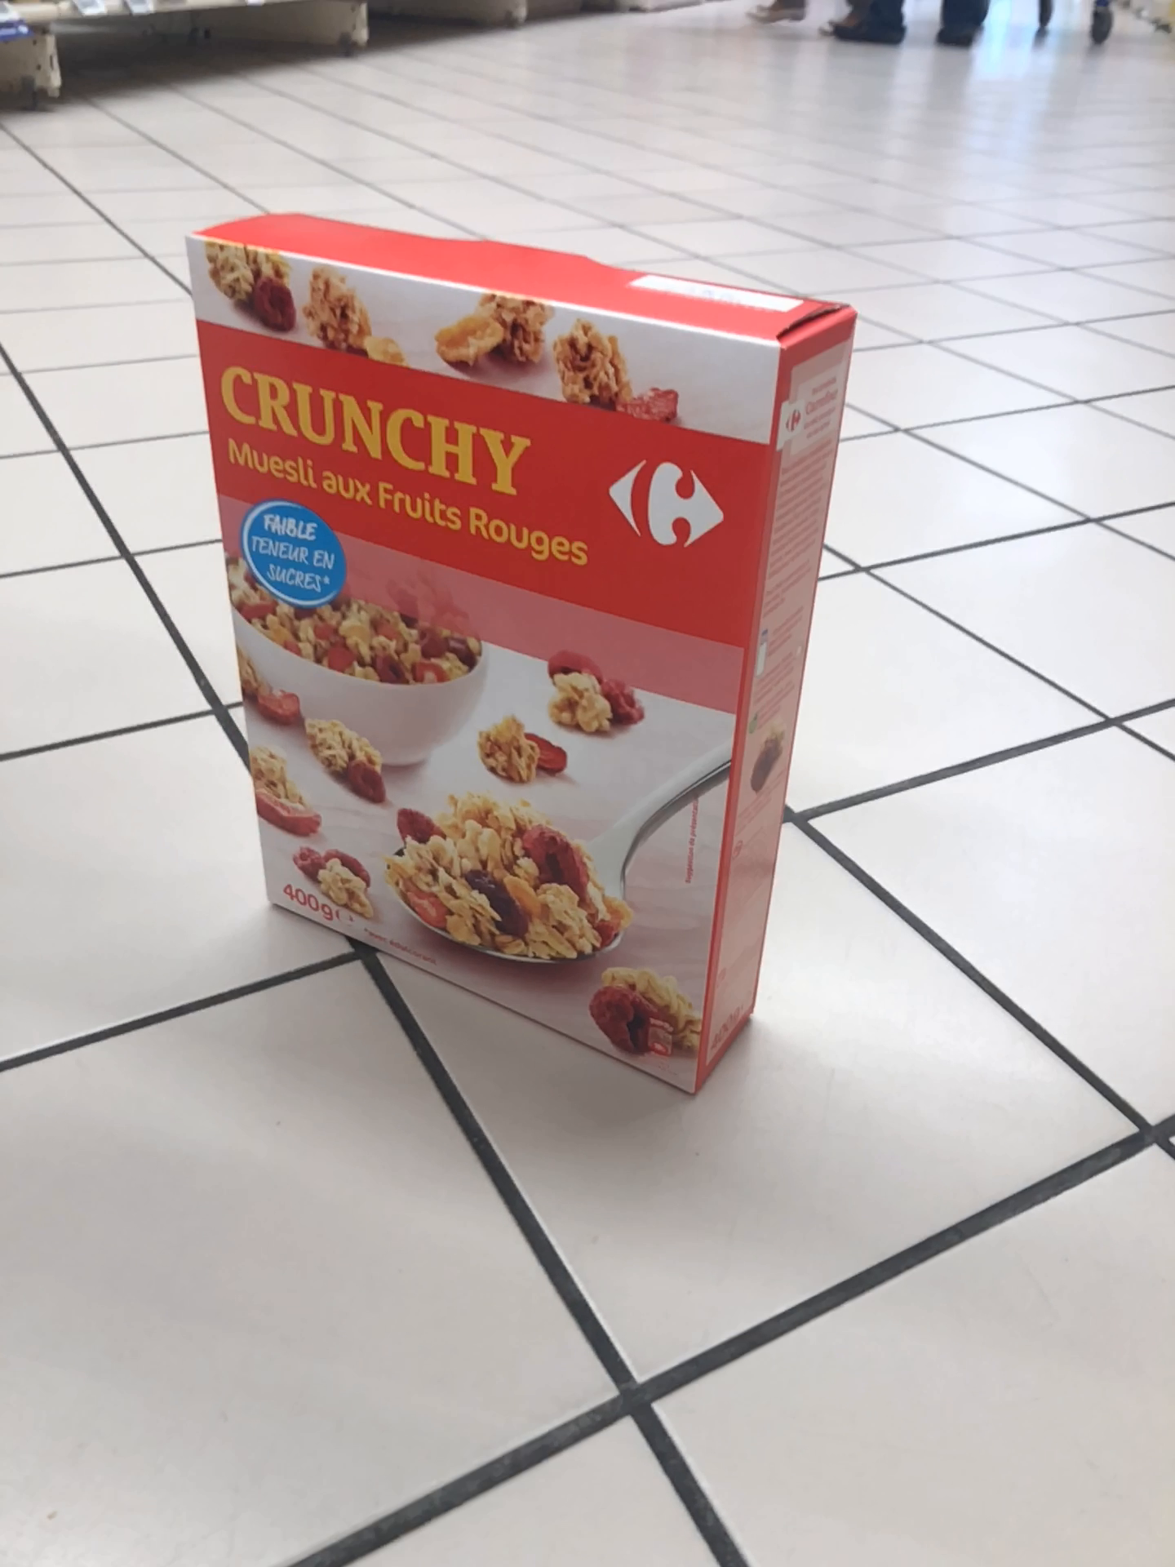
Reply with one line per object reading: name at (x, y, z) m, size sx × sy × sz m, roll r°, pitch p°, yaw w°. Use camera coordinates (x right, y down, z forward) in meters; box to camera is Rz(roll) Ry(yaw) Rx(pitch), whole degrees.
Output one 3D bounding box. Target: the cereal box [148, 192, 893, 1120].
cereal box at (-0.028, -0.039, 0.414) m, size 0.200 × 0.248 × 0.060 m, roll 20°, pitch 36°, yaw 24°
